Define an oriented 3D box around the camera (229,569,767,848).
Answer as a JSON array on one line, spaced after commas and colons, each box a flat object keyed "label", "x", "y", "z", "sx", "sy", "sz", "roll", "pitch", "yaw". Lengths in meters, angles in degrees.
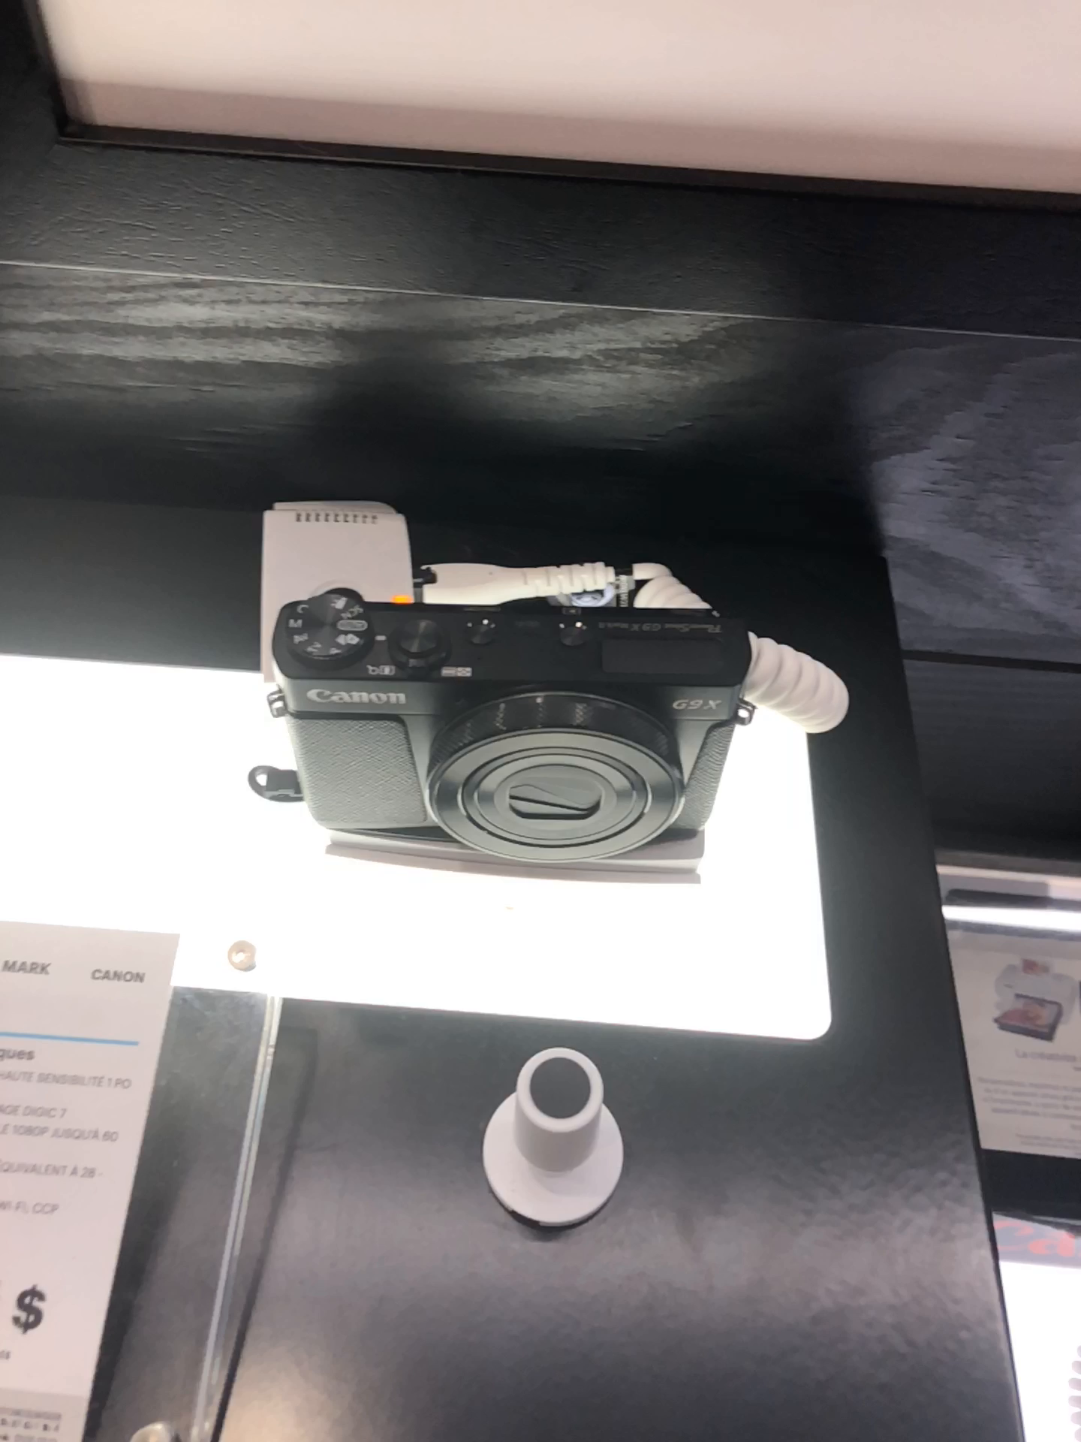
[{"label": "camera", "x": -0.009, "y": -0.001, "z": 0.253, "sx": 0.100, "sy": 0.058, "sz": 0.025, "roll": 1, "pitch": 50, "yaw": -2}]
